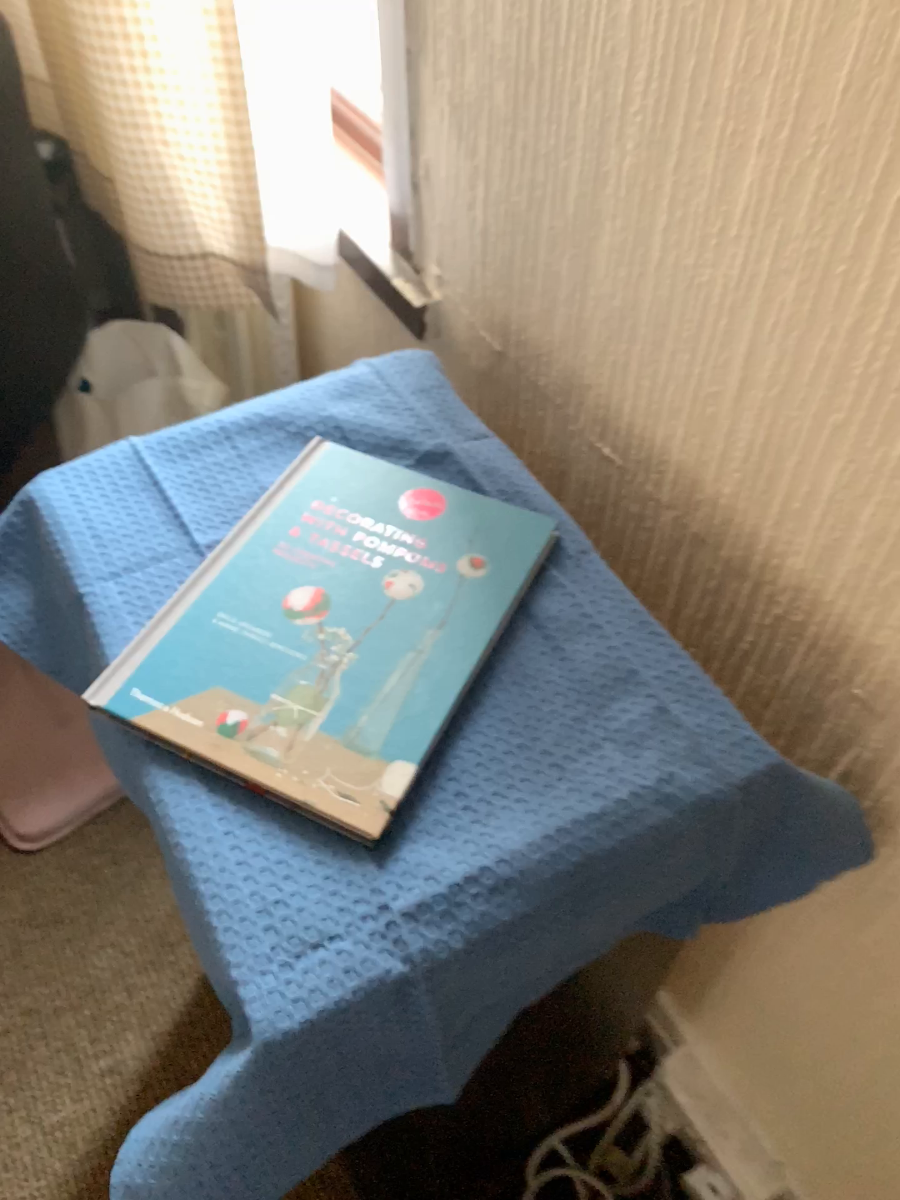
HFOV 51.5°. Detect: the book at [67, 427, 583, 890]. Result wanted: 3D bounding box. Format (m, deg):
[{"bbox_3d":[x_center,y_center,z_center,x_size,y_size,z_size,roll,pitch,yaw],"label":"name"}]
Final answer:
[{"bbox_3d":[-0.058,0.012,0.537,0.190,0.020,0.252,22,53,15],"label":"book"}]
